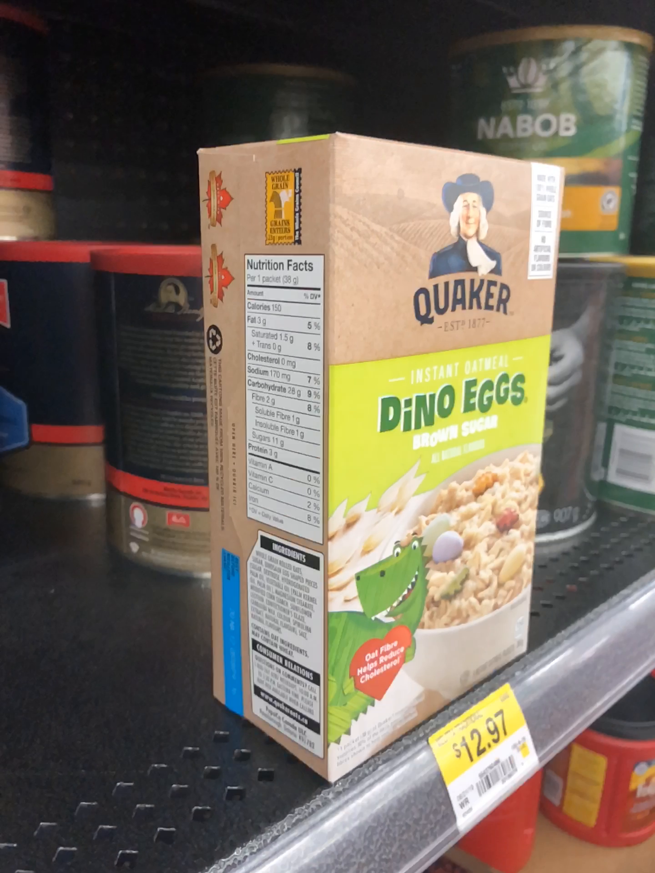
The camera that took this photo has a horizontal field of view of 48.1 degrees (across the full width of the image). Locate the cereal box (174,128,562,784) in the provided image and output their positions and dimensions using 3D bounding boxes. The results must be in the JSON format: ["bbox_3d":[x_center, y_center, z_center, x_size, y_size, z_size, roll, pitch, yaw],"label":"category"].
[{"bbox_3d":[0.020,-0.001,0.285,0.070,0.200,0.130,13,18,43],"label":"cereal box"}]
